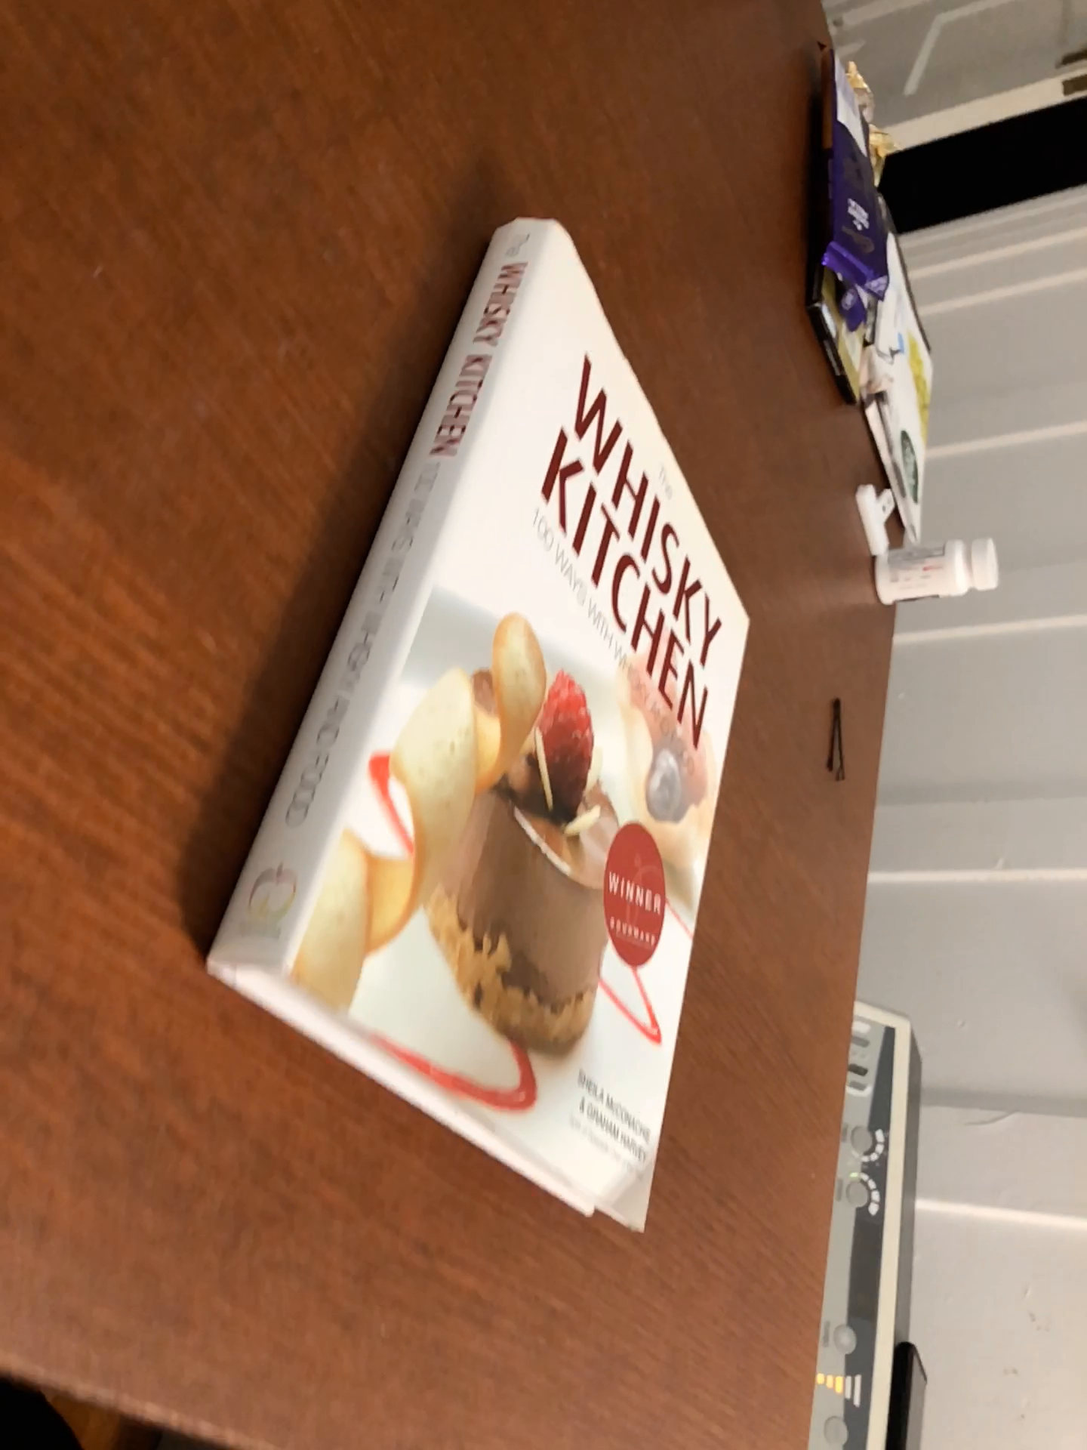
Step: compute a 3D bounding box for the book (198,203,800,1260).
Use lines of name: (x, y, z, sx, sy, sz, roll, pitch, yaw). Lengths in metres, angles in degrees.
book: (0.020, 0.006, 0.404, 0.221, 0.040, 0.271, 53, 43, -45)
